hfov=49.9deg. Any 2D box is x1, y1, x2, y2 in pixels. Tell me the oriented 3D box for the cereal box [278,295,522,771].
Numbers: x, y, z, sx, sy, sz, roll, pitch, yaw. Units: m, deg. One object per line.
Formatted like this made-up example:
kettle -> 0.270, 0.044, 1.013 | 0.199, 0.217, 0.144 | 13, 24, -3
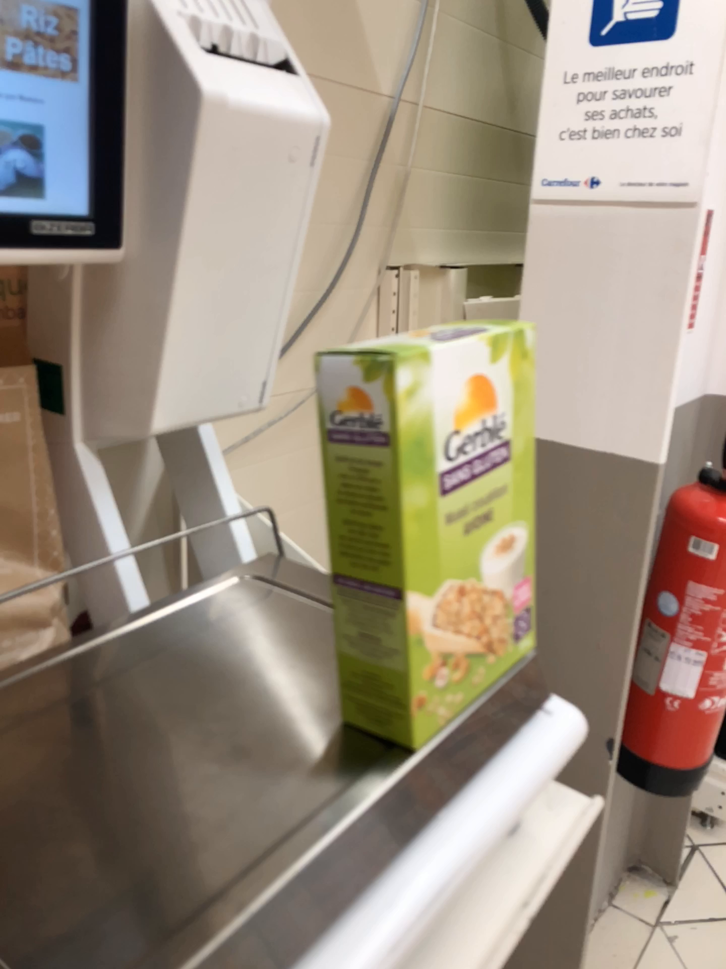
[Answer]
cereal box -> 0.032, 0.016, 0.446 | 0.050, 0.229, 0.151 | 9, 20, 37
